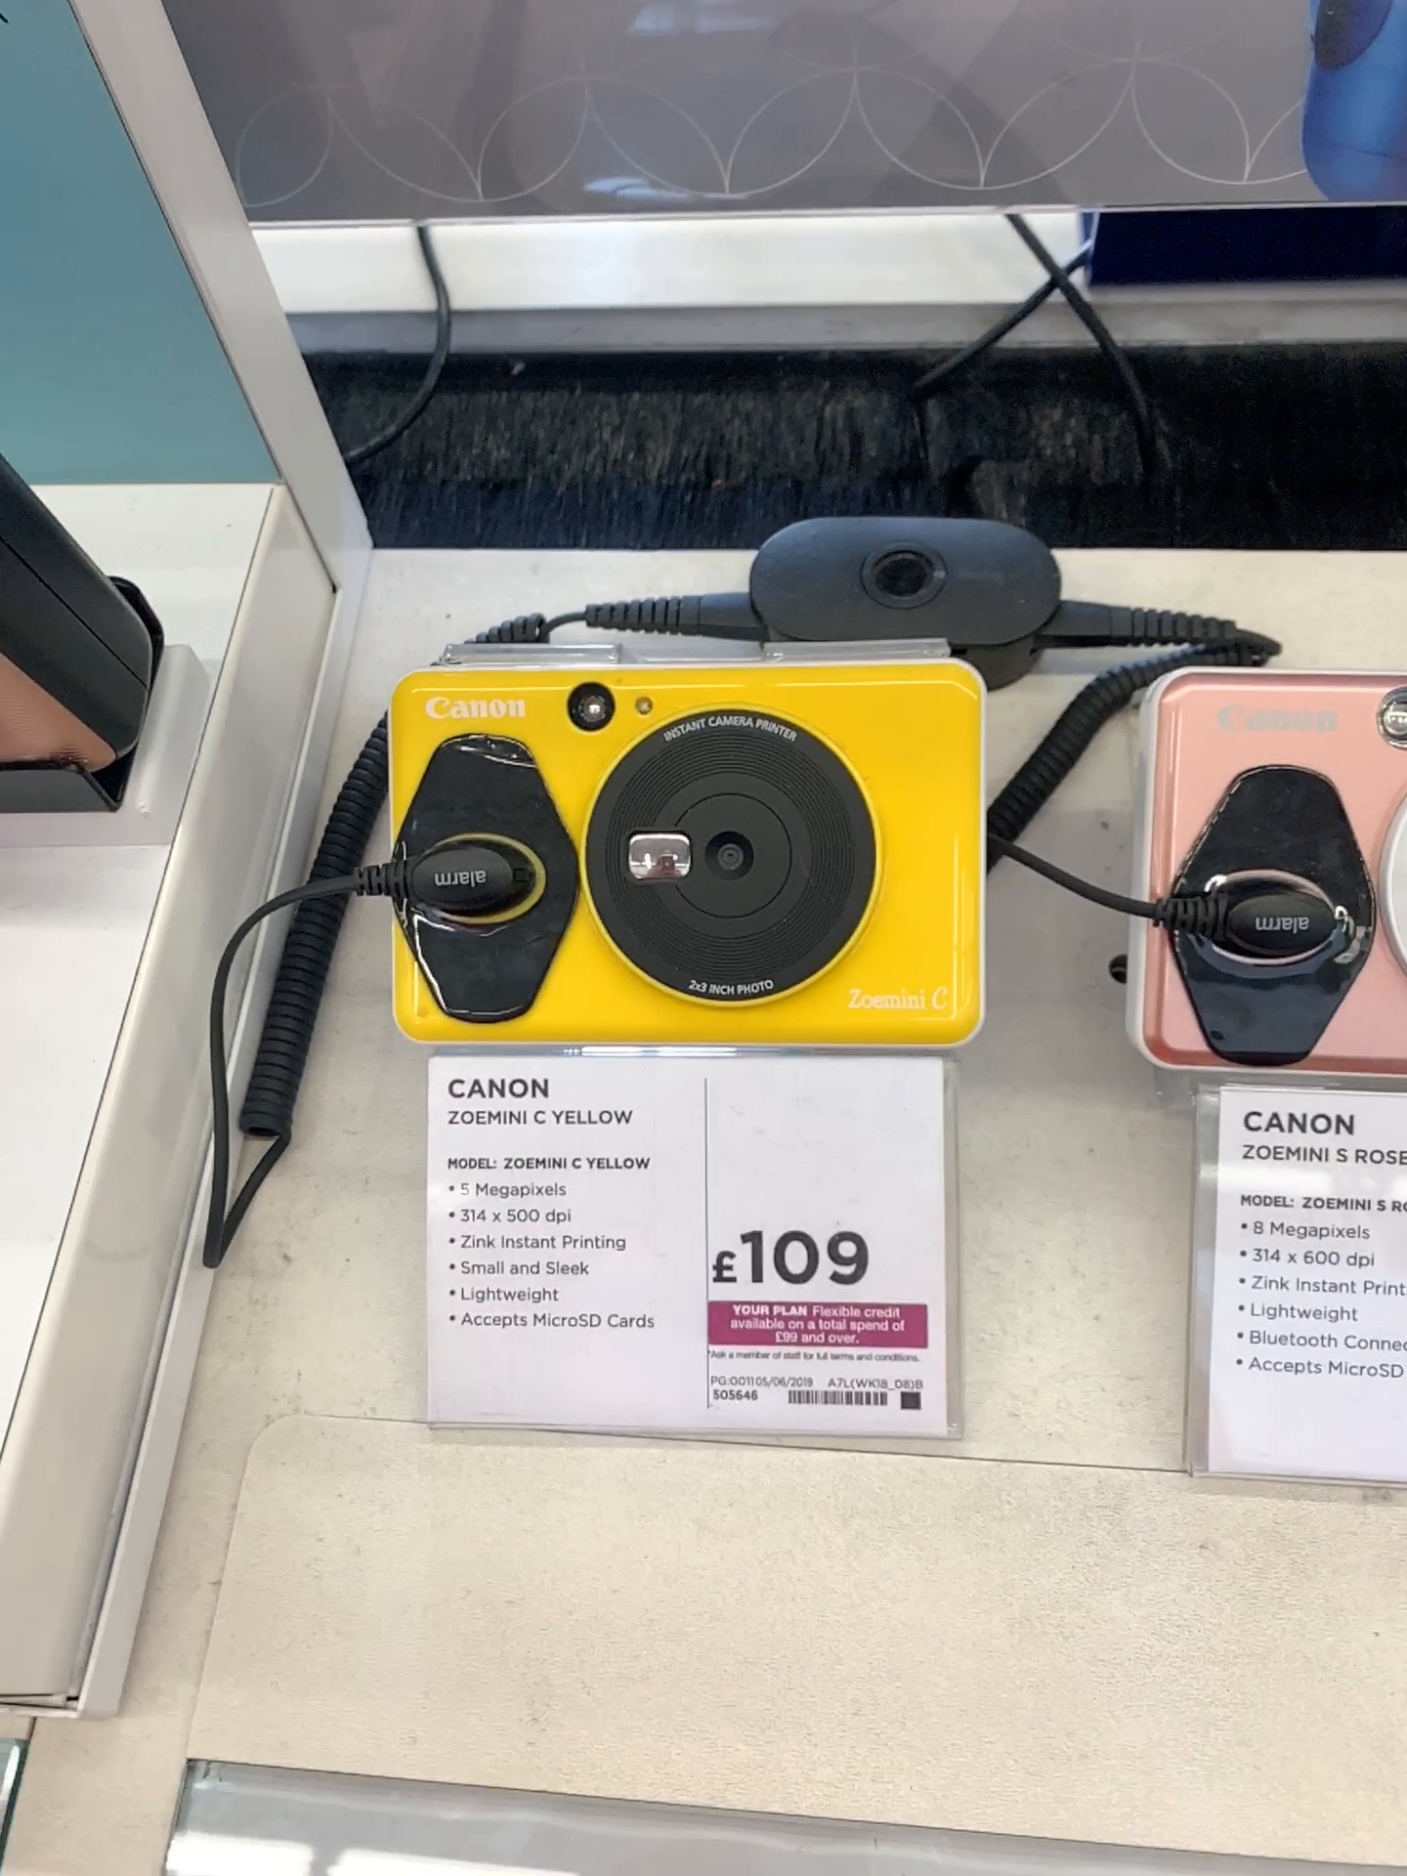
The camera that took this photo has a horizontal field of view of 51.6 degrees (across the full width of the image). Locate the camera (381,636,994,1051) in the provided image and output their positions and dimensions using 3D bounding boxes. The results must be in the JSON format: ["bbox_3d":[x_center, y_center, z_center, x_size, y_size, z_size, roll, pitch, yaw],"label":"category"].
[{"bbox_3d":[-0.003,-0.018,0.296,0.120,0.020,0.080,0,93,5],"label":"camera"}]
